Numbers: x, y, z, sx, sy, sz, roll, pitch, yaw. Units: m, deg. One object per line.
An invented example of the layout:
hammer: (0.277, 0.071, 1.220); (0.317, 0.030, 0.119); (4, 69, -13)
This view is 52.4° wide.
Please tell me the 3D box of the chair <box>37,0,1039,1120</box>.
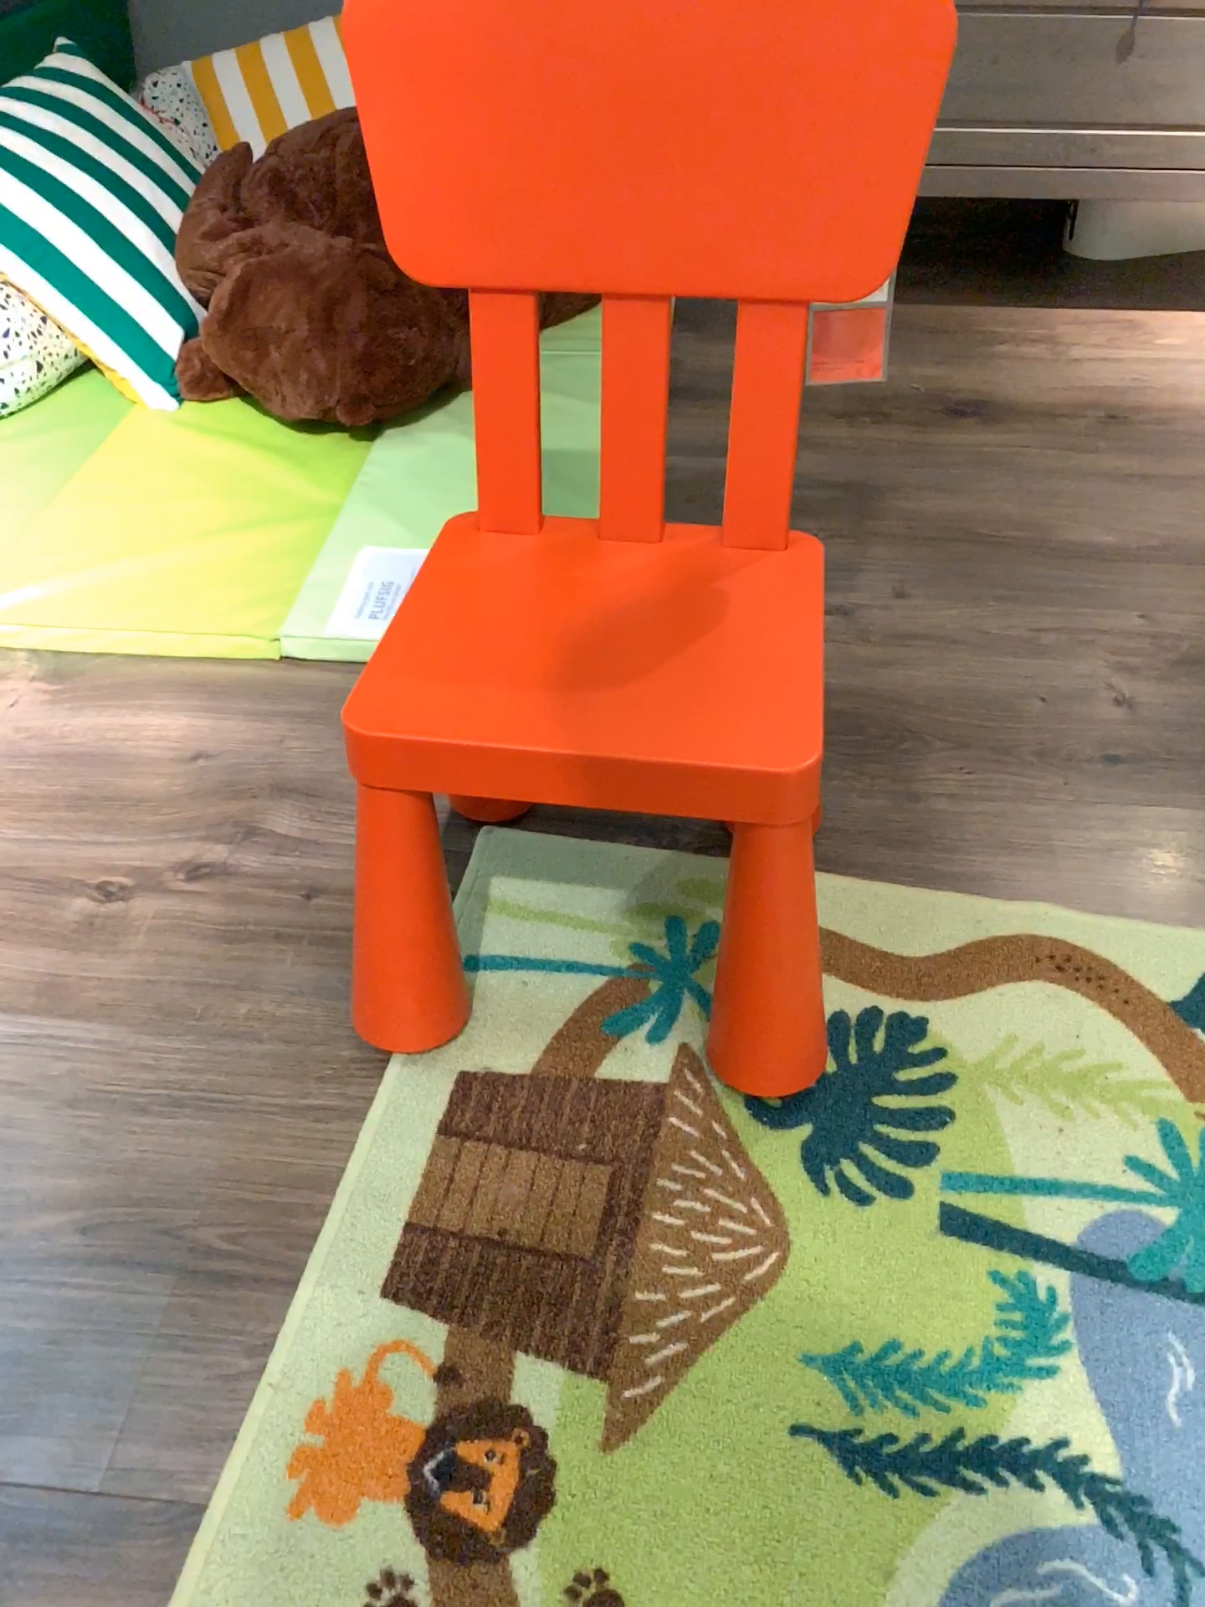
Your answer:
chair: (0.010, -0.183, 0.821); (0.380, 0.597, 0.462); (7, 42, 8)
